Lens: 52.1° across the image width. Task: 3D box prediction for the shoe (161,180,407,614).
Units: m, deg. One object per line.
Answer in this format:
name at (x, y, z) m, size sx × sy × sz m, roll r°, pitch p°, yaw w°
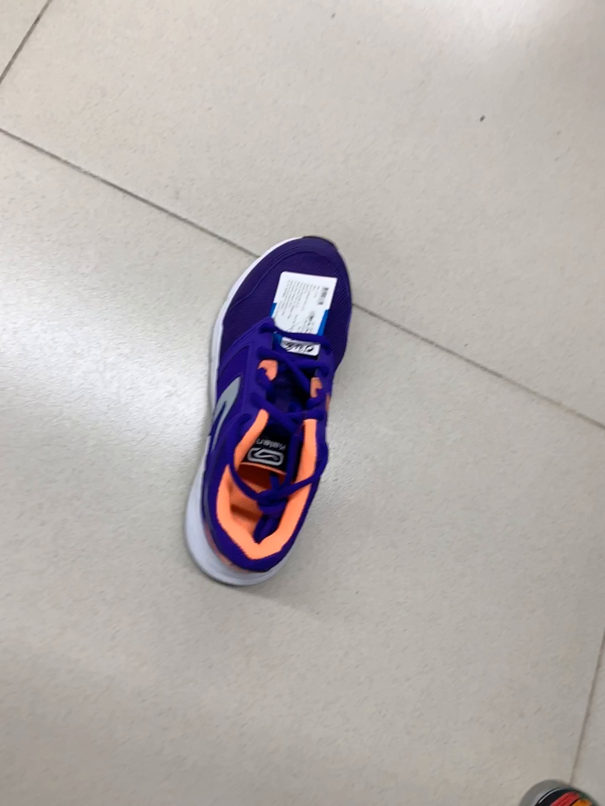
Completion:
shoe at (-0.015, -0.001, 0.423) m, size 0.100 × 0.100 × 0.250 m, roll 14°, pitch 78°, yaw -13°
